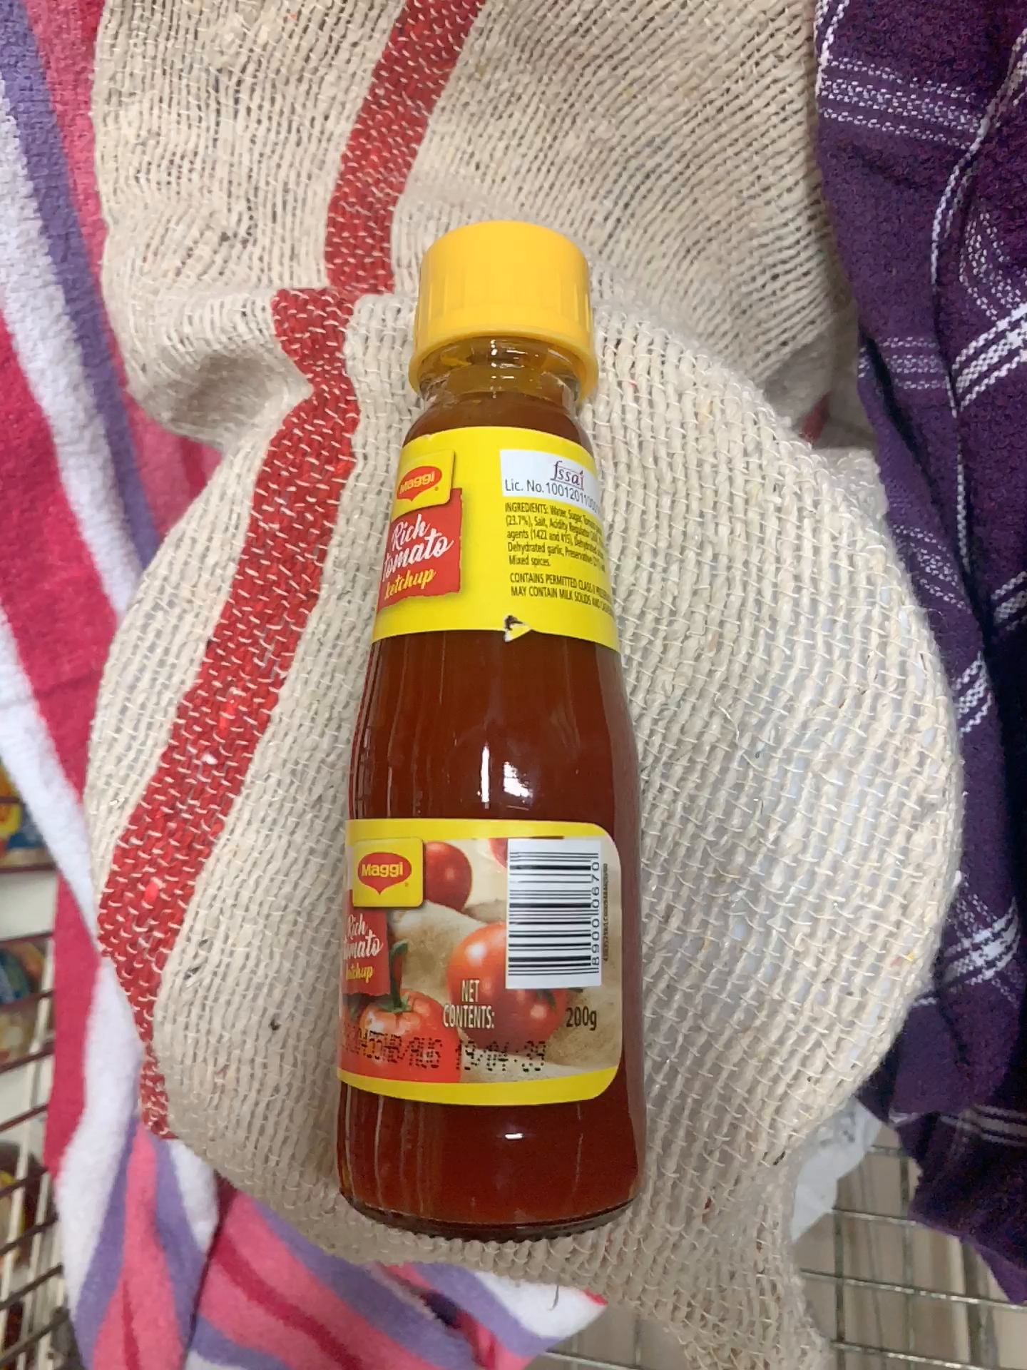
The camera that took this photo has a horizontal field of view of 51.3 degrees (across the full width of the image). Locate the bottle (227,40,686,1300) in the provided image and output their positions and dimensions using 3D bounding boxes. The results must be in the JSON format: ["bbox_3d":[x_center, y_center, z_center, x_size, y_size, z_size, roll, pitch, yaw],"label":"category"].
[{"bbox_3d":[-0.009,-0.004,0.177,0.050,0.050,0.170,-9,77,46],"label":"bottle"}]
